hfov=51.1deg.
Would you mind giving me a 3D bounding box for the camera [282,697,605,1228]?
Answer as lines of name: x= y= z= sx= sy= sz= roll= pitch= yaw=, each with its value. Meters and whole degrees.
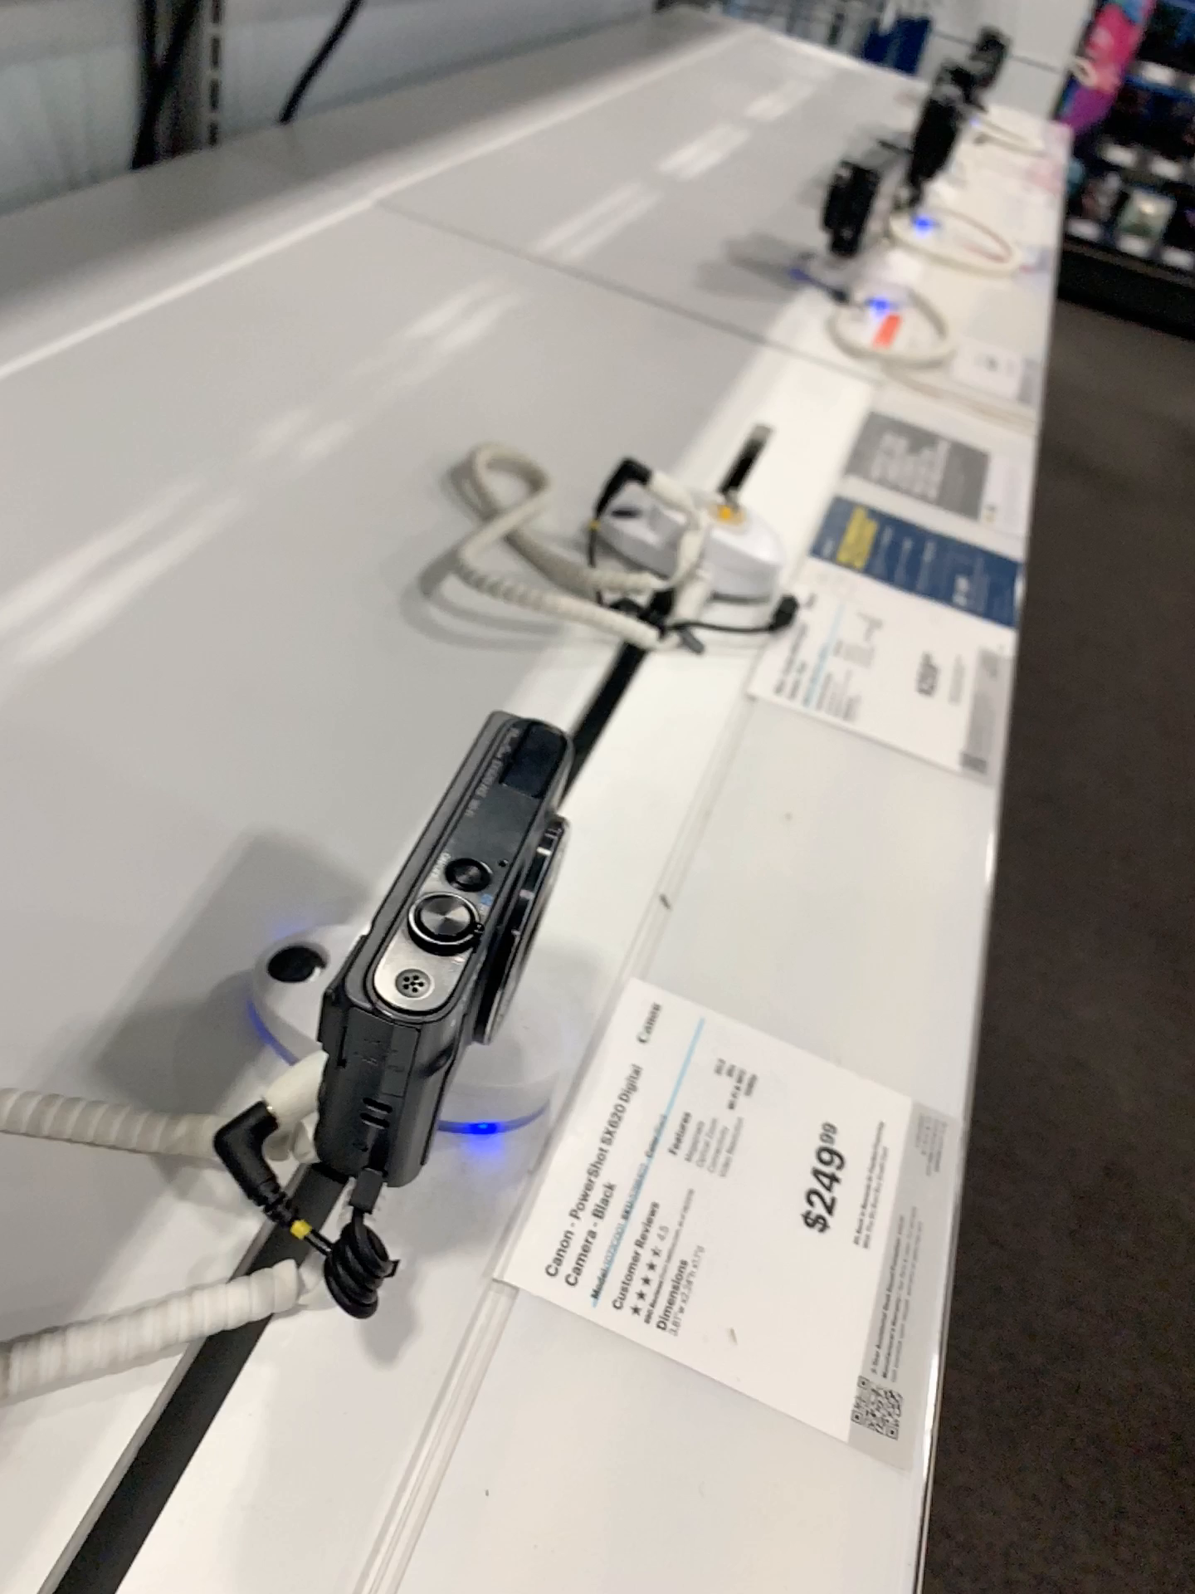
camera: x=-0.030 y=0.030 z=0.263 sx=0.031 sy=0.050 sz=0.100 roll=18 pitch=38 yaw=2
